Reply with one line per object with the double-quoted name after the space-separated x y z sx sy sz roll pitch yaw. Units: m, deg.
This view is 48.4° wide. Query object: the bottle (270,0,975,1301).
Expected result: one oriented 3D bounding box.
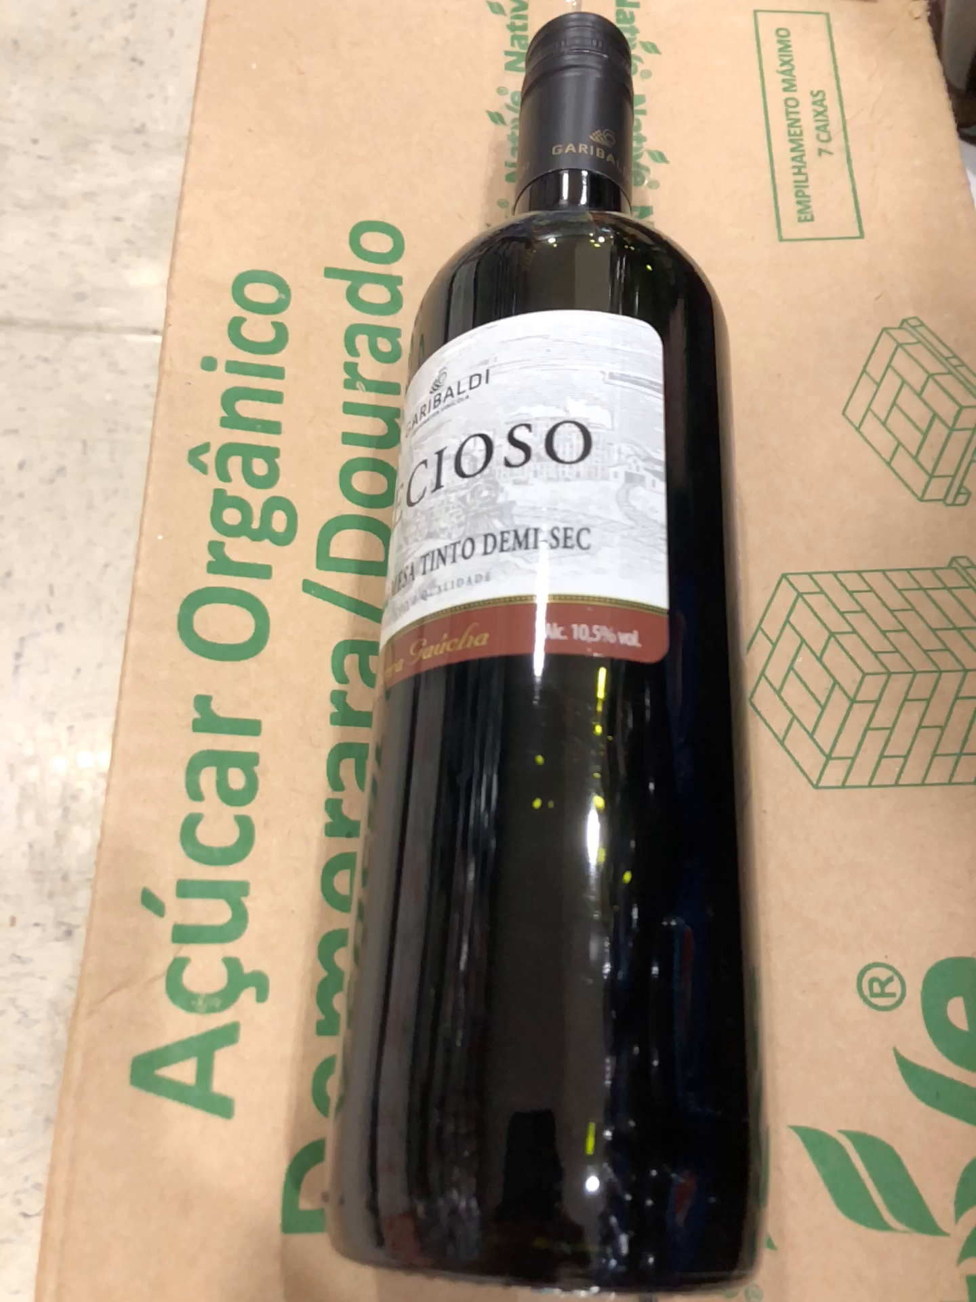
0.025 -0.057 0.234 0.090 0.080 0.341 6 64 -6 "bottle"
